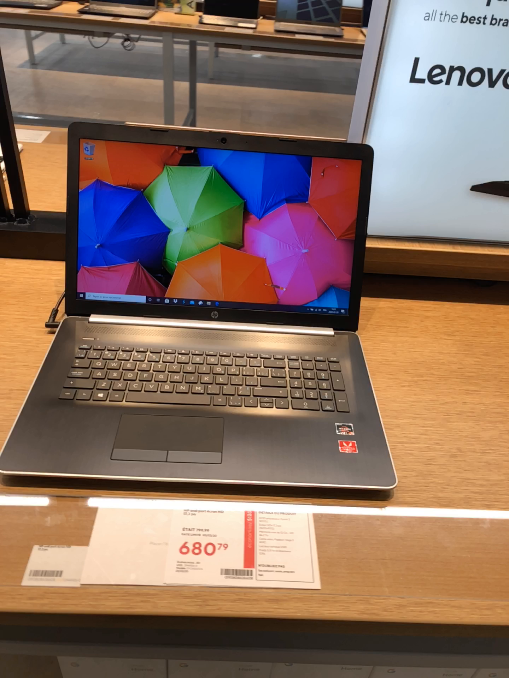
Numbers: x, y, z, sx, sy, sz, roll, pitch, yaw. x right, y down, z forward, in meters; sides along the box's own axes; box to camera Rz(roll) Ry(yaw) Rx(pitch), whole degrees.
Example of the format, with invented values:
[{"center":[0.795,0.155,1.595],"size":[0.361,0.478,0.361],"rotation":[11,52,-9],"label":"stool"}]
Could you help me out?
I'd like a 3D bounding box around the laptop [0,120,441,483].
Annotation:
[{"center":[-0.049,-0.070,0.682],"size":[0.399,0.217,0.399],"rotation":[3,39,-3],"label":"laptop"}]
